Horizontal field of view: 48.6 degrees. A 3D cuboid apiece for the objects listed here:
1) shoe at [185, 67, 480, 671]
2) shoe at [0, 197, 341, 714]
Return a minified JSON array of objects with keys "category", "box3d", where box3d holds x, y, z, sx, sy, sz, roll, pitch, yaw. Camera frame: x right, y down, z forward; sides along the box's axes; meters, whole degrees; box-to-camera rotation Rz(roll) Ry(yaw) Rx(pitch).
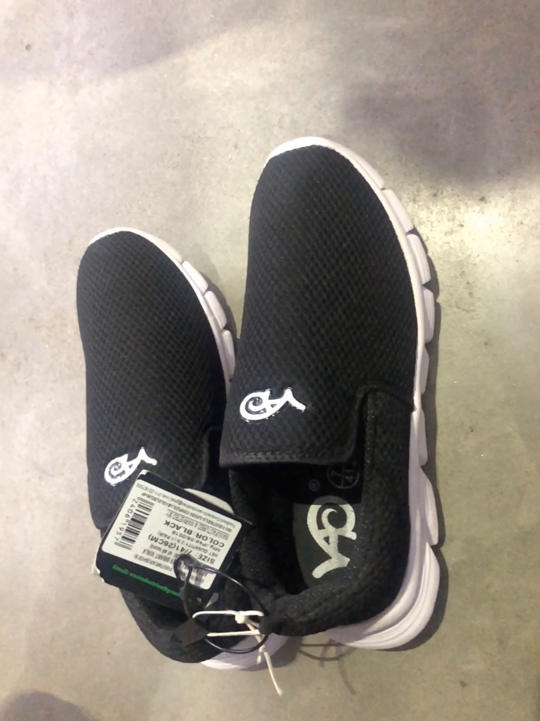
[{"category":"shoe","box3d":[0.033,0.006,0.336,0.110,0.100,0.270,-9,81,32]},{"category":"shoe","box3d":[-0.064,0.052,0.375,0.110,0.100,0.260,-24,76,20]}]
